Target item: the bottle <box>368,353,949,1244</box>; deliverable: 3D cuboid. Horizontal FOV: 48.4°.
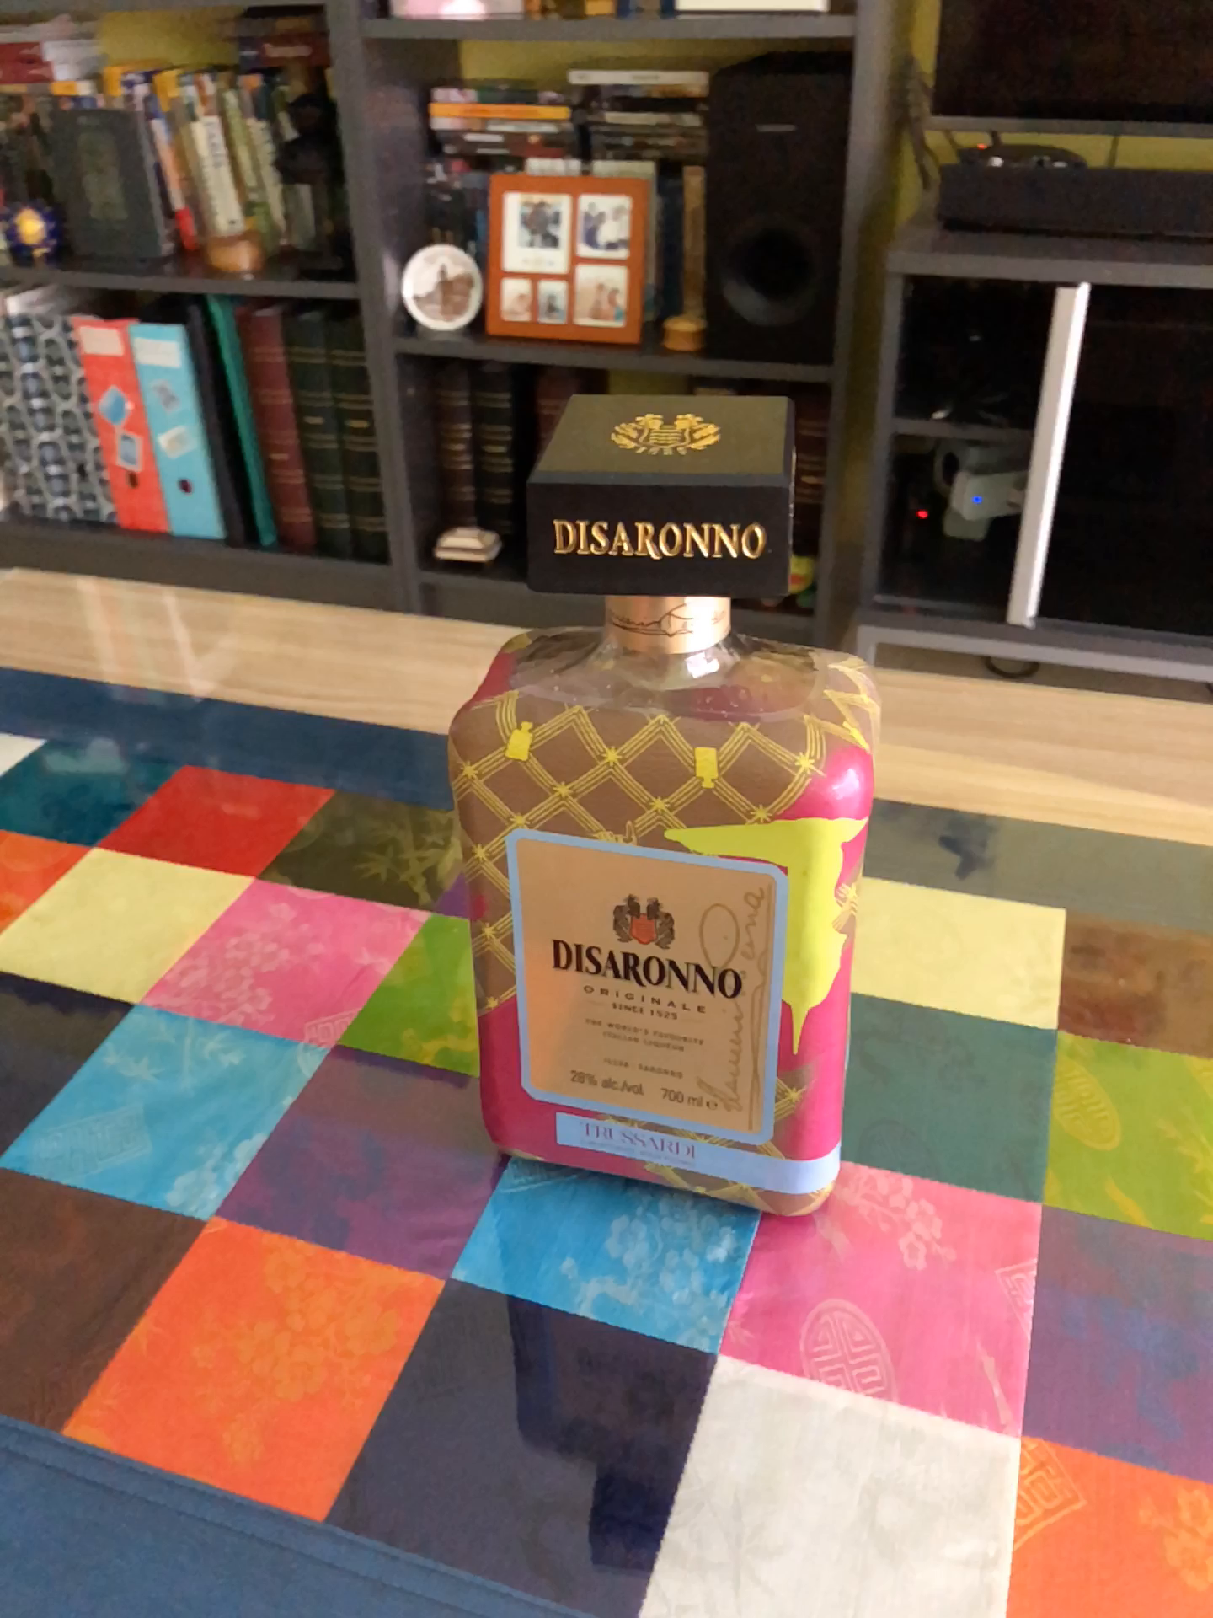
[{"bbox_3d":[0.019,0.002,0.380,0.120,0.229,0.080,8,35,15],"label":"bottle"}]
